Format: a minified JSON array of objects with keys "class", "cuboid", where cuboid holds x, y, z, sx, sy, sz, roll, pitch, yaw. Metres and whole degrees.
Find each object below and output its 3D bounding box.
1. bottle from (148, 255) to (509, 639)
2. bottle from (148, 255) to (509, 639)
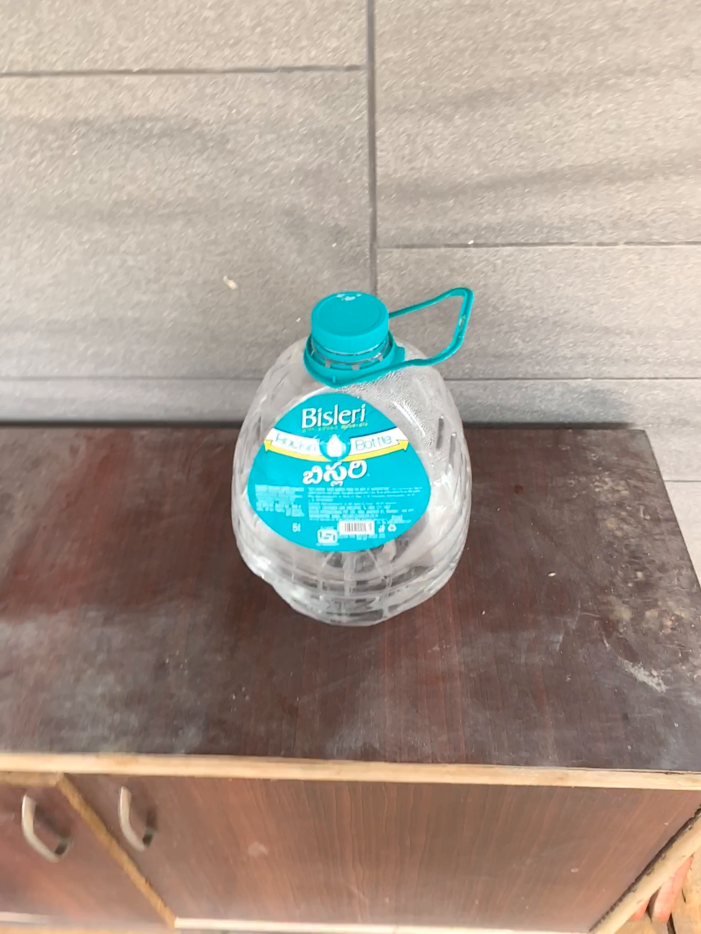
[{"class":"bottle","cuboid":[-0.005,-0.012,0.539,0.200,0.219,0.181,1,45,4]},{"class":"bottle","cuboid":[-0.005,-0.012,0.539,0.200,0.219,0.181,1,45,4]}]
